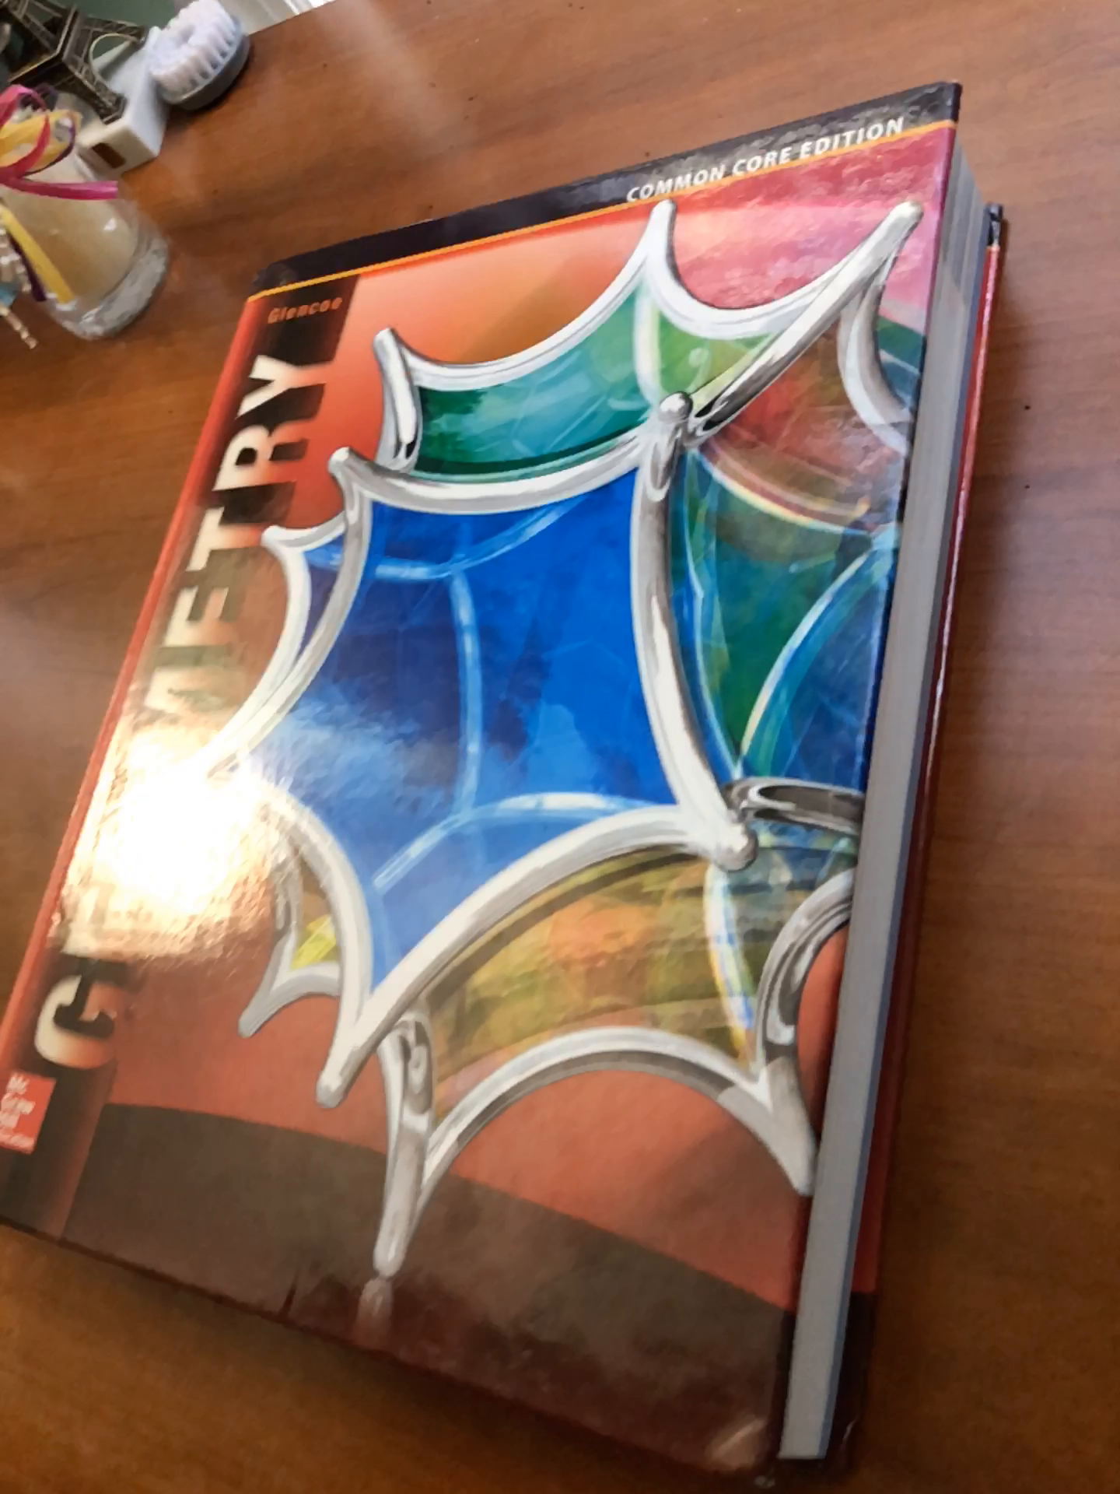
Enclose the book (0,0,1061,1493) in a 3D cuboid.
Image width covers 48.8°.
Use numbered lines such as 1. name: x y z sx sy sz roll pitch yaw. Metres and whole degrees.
1. book: -0.014 -0.020 0.310 0.229 0.050 0.311 1 68 33
